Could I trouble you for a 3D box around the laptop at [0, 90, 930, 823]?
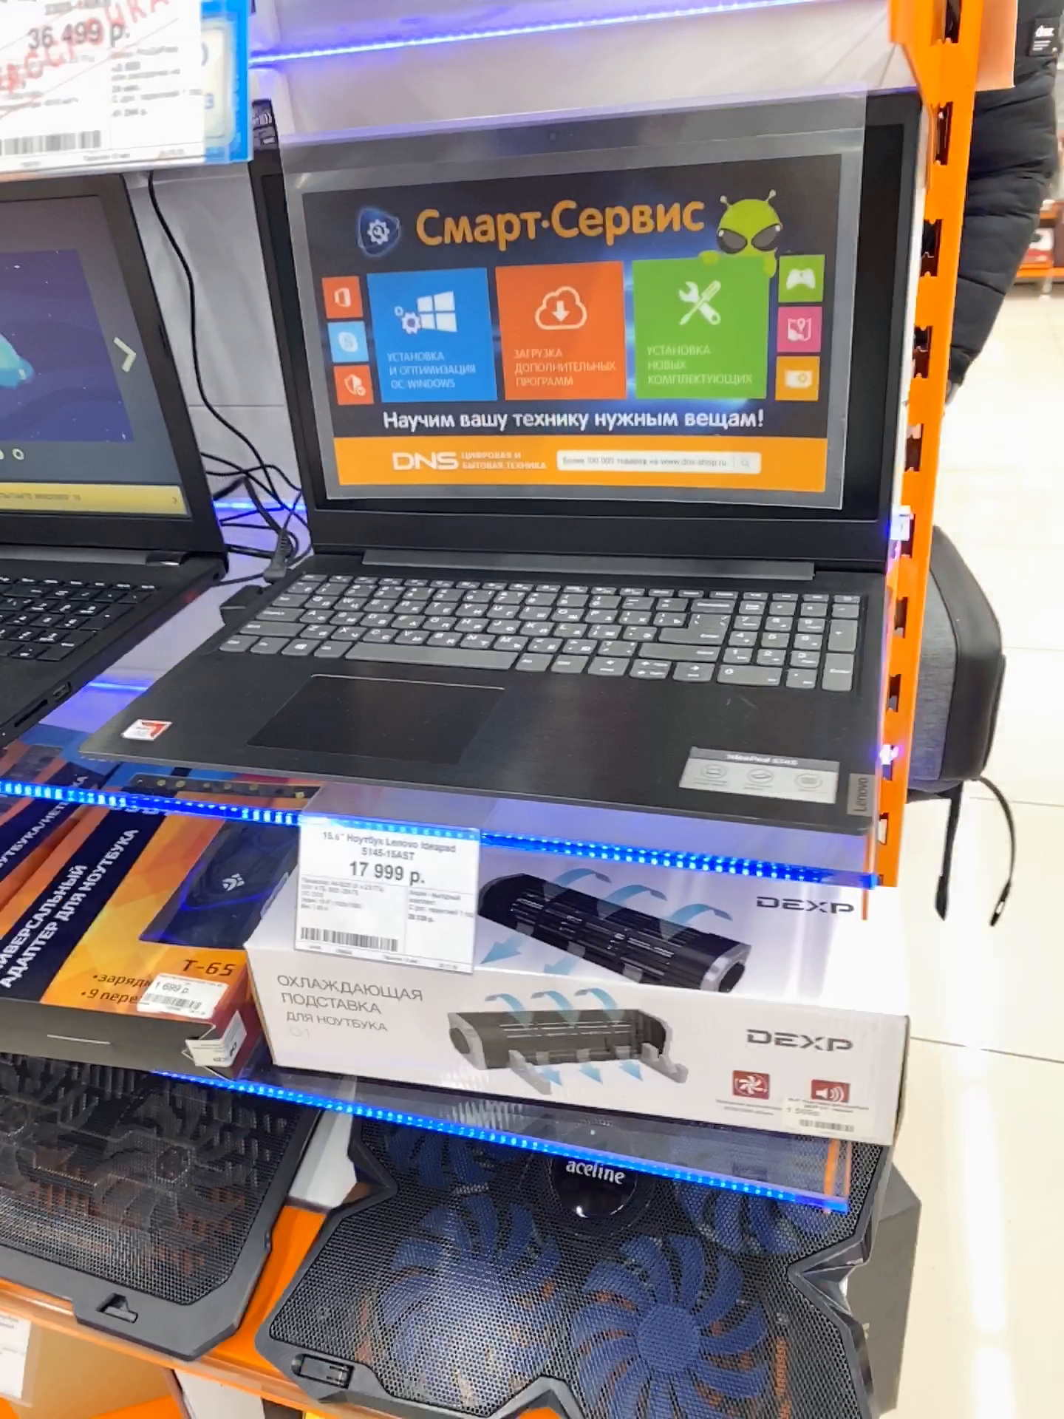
[{"bbox_3d":[-0.016,-0.136,0.513,0.357,0.236,0.266,4,30,17],"label":"laptop"}]
